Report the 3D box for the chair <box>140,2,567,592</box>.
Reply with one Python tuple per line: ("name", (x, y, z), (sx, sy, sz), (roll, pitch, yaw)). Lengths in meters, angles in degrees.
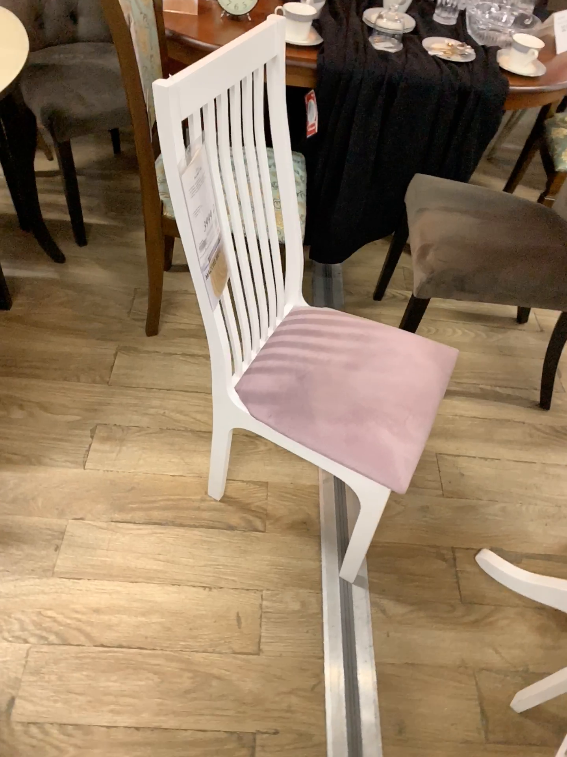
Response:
("chair", (0.093, -0.076, 1.180), (0.520, 1.003, 0.442), (23, 49, 12))
